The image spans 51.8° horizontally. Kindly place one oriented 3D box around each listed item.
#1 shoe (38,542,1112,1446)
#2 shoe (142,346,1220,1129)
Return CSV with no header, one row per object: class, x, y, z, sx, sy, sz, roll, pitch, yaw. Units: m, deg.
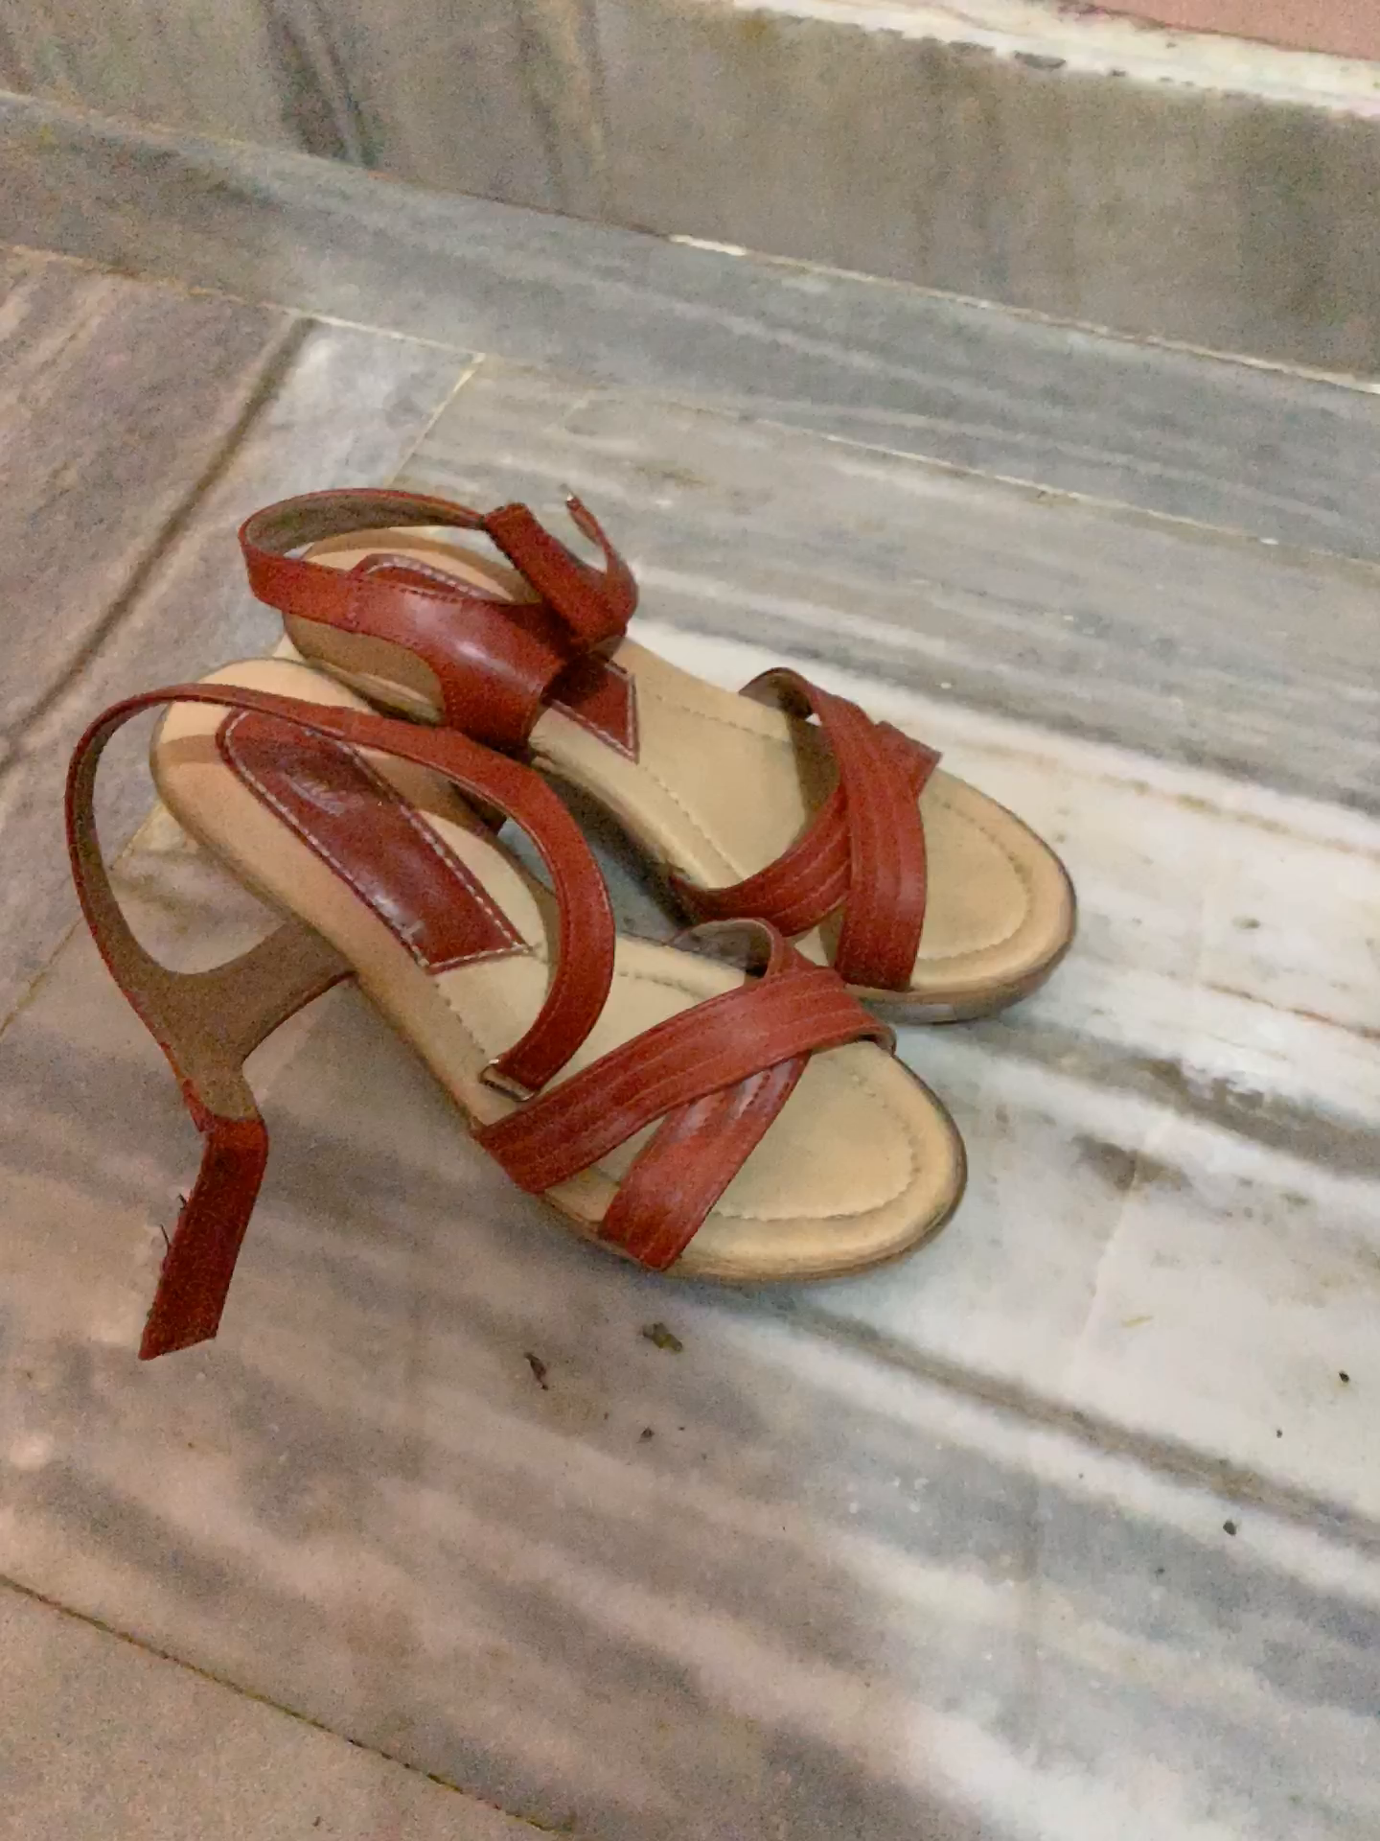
shoe,-0.032,0.014,0.376,0.240,0.100,0.100,30,63,18
shoe,-0.003,-0.052,0.385,0.240,0.100,0.100,21,60,13
